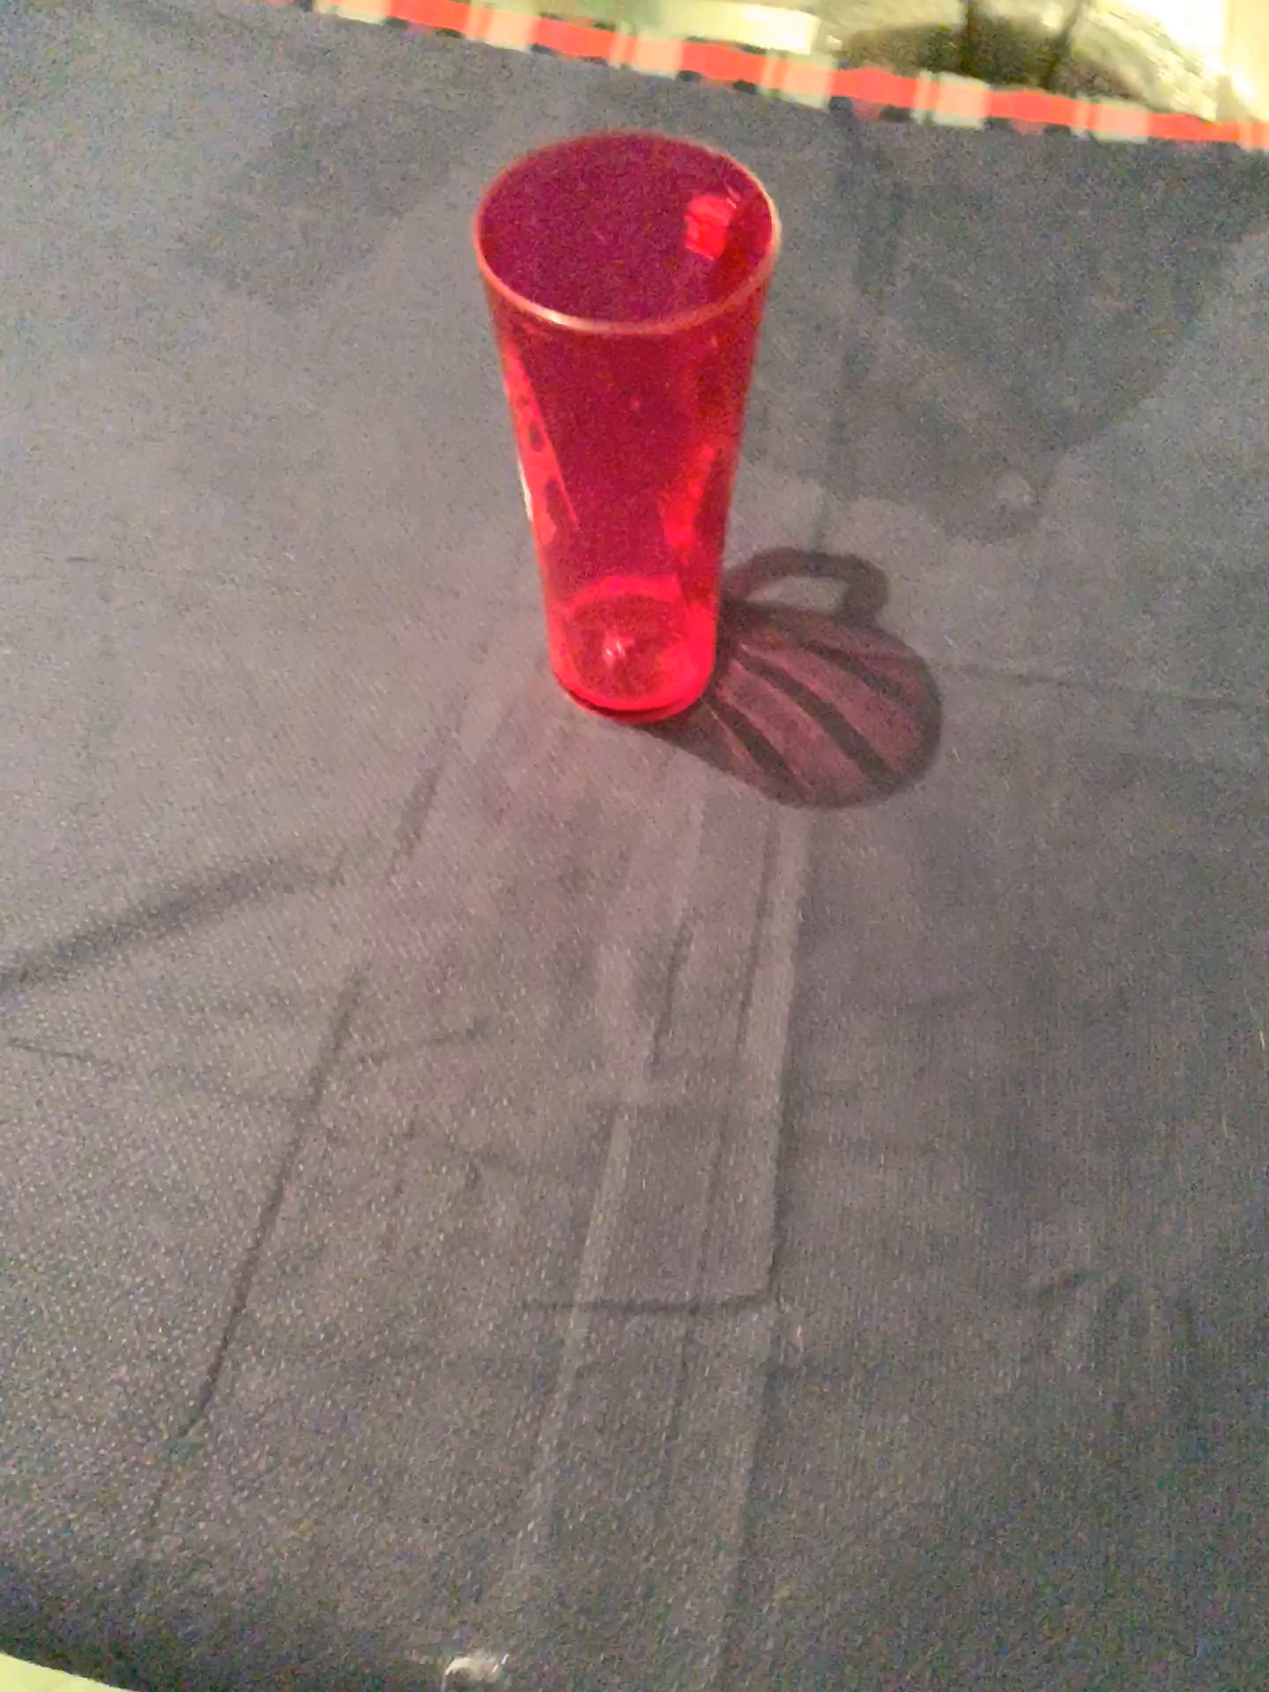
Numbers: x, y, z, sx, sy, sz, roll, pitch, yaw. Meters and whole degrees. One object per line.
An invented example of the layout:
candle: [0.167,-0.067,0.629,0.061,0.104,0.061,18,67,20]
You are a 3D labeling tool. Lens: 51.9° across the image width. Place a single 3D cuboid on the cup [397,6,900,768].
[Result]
cup: [0.005,-0.118,0.376,0.070,0.170,0.100,33,68,16]
